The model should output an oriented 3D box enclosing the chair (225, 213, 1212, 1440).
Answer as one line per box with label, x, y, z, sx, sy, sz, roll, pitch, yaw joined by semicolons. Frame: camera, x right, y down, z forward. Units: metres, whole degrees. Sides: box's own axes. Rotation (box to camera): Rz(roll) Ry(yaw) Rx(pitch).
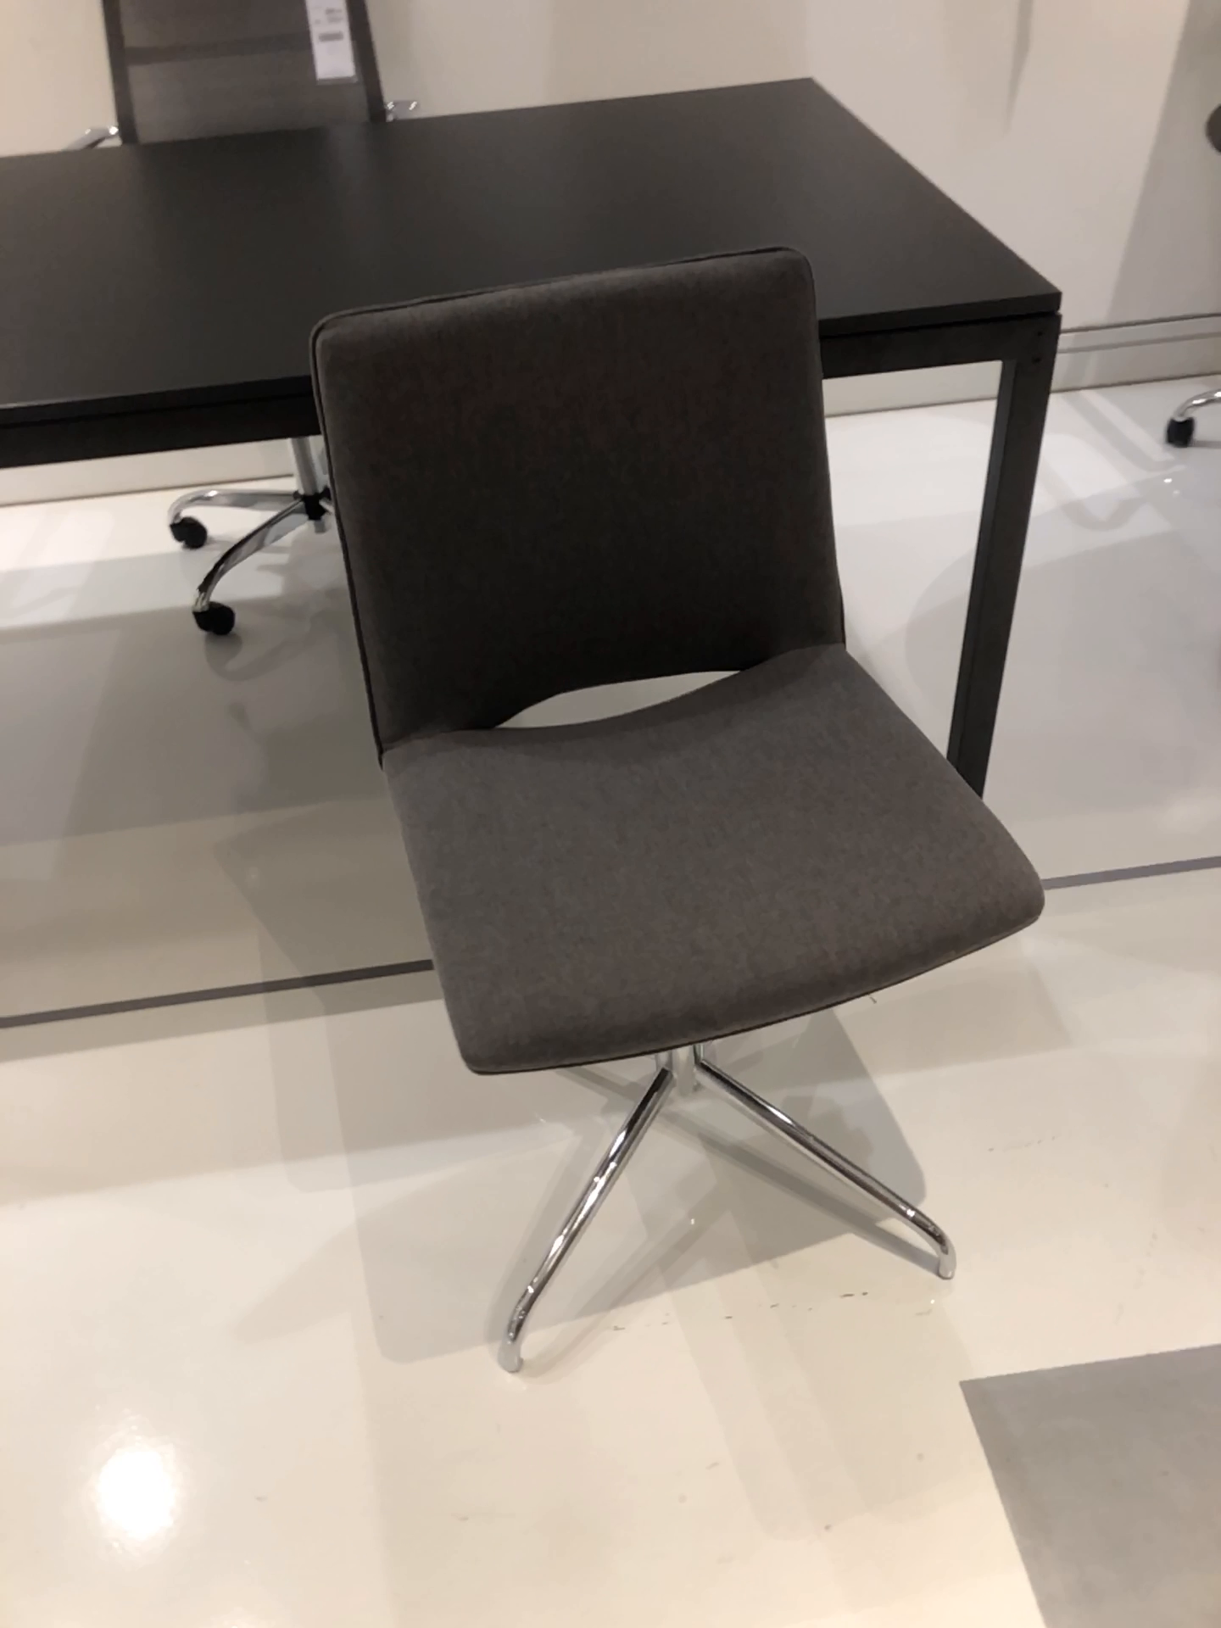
chair;0.042;0.013;1.197;0.520;0.834;0.554;-14;40;-12
